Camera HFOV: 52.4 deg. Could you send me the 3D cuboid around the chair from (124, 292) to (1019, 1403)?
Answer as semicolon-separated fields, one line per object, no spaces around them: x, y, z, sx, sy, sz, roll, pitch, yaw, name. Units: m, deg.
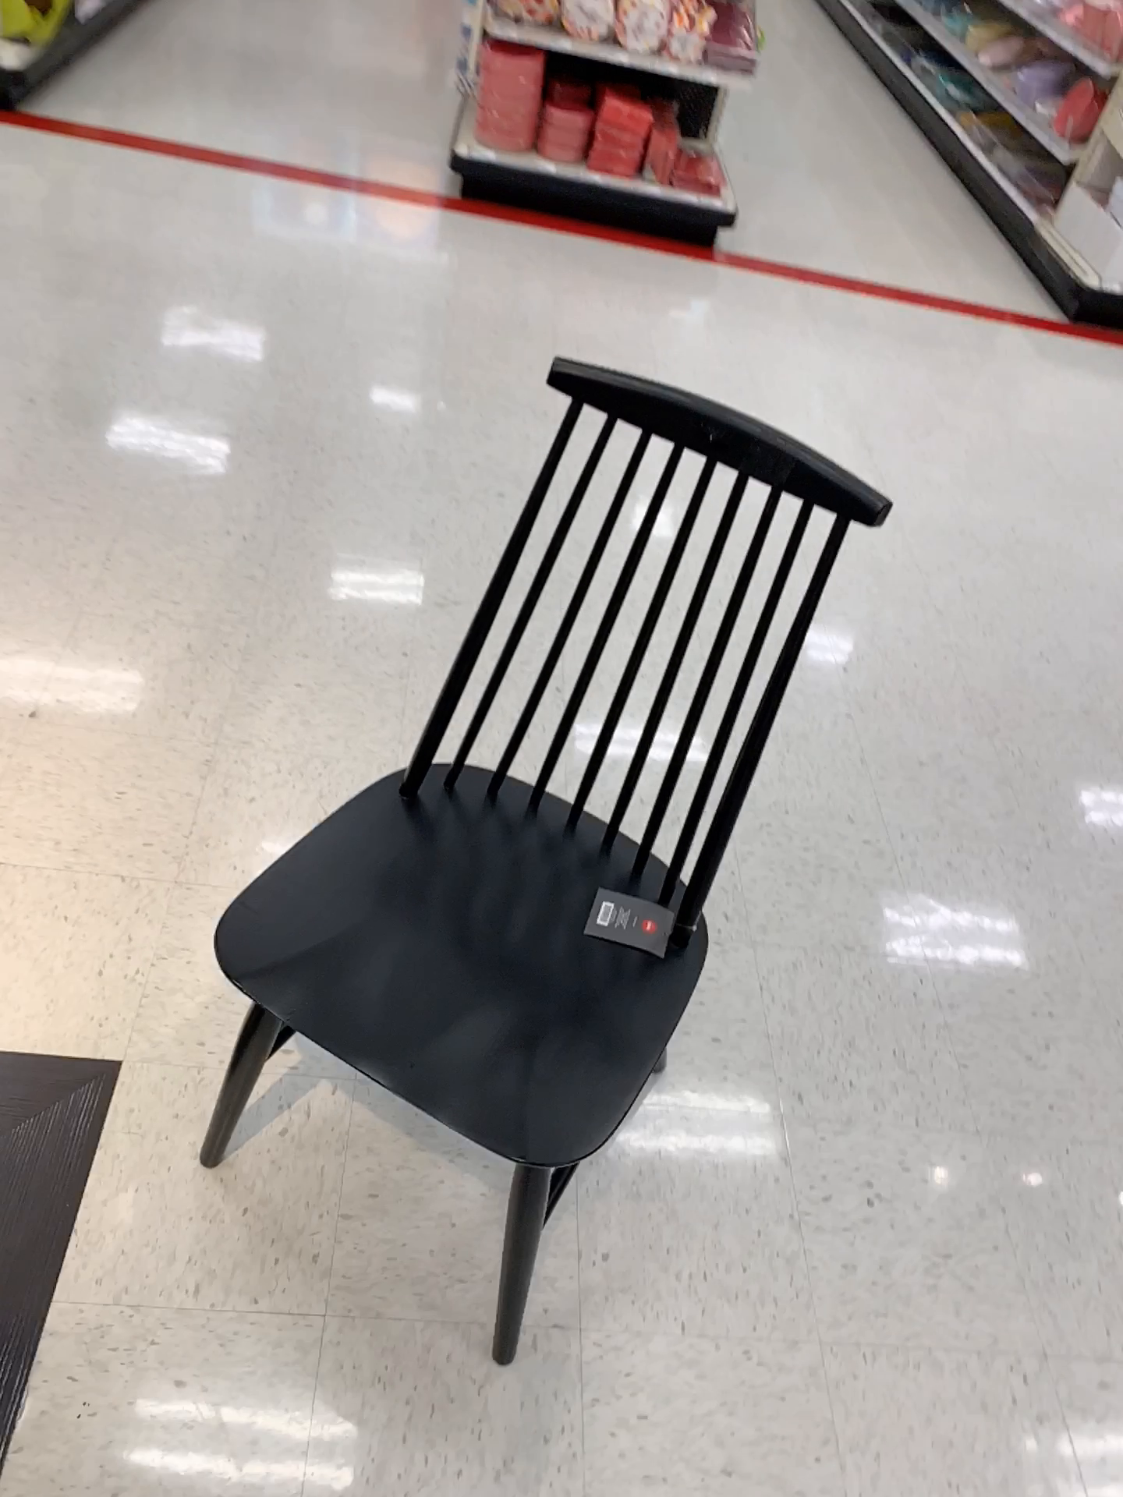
-0.037;0.134;1.237;0.530;0.945;0.552;30;44;15;chair
